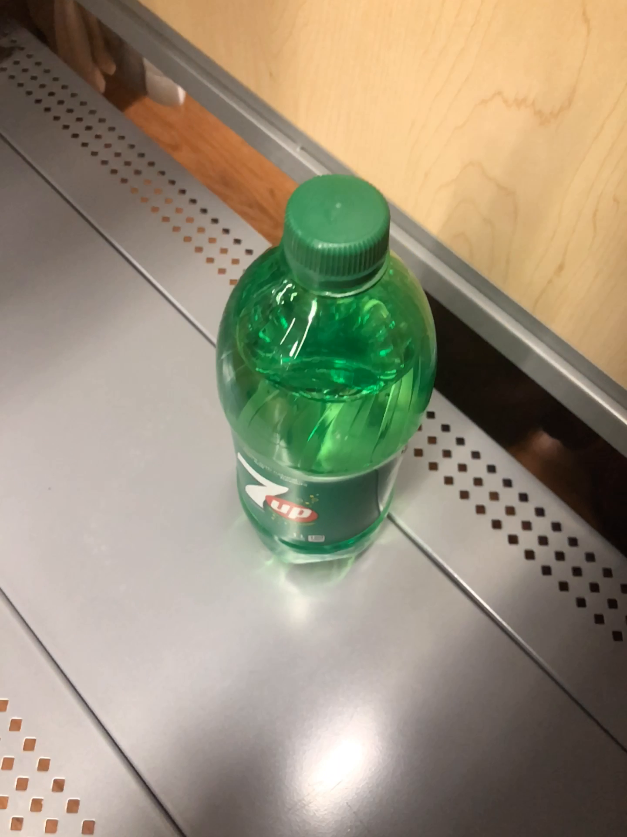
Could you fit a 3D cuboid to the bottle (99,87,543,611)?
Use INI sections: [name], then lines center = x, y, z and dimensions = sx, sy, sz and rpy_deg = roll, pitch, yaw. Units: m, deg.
[bottle]
center = 0.000, 0.000, 0.307
dimensions = 0.100, 0.239, 0.080
rpy_deg = 31, 67, 13
